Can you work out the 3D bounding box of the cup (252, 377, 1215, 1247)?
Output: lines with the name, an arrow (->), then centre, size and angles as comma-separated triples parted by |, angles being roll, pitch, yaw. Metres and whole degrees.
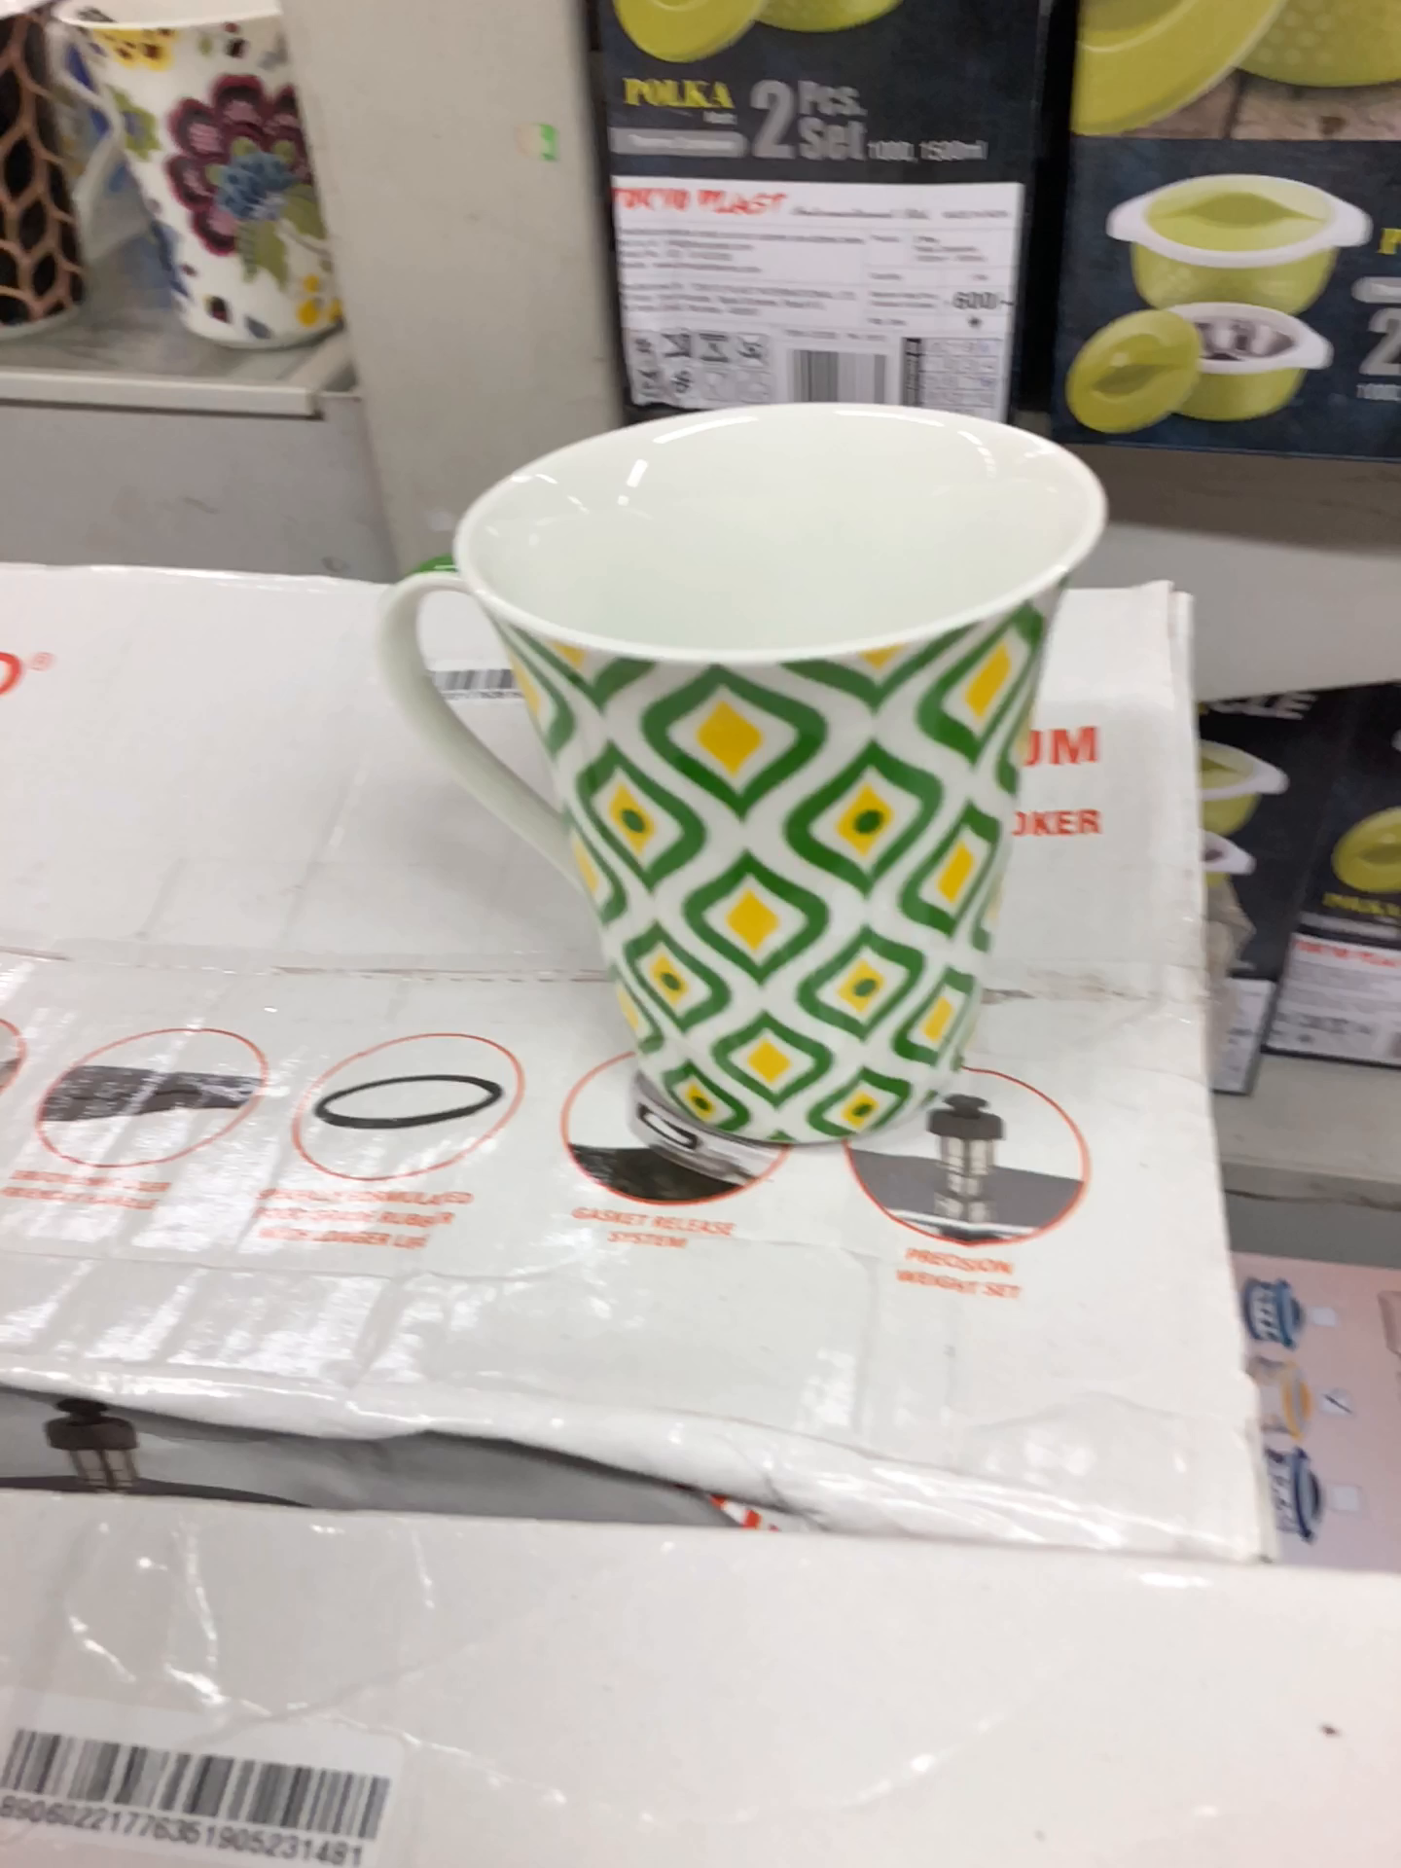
cup -> 0.012, -0.024, 0.236 | 0.110, 0.089, 0.091 | 5, 37, 11
